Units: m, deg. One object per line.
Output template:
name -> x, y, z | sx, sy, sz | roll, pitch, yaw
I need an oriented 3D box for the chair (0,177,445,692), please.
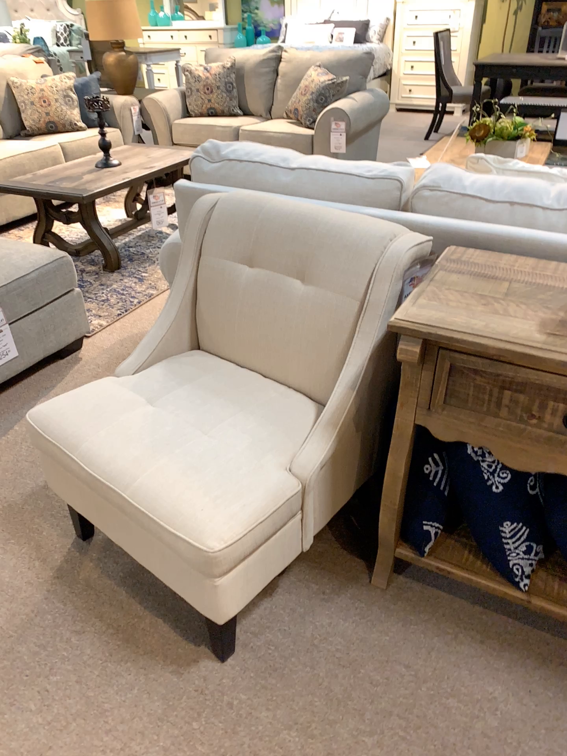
chair -> -0.156, 0.042, 1.443 | 0.715, 0.800, 0.772 | 24, 41, 34
